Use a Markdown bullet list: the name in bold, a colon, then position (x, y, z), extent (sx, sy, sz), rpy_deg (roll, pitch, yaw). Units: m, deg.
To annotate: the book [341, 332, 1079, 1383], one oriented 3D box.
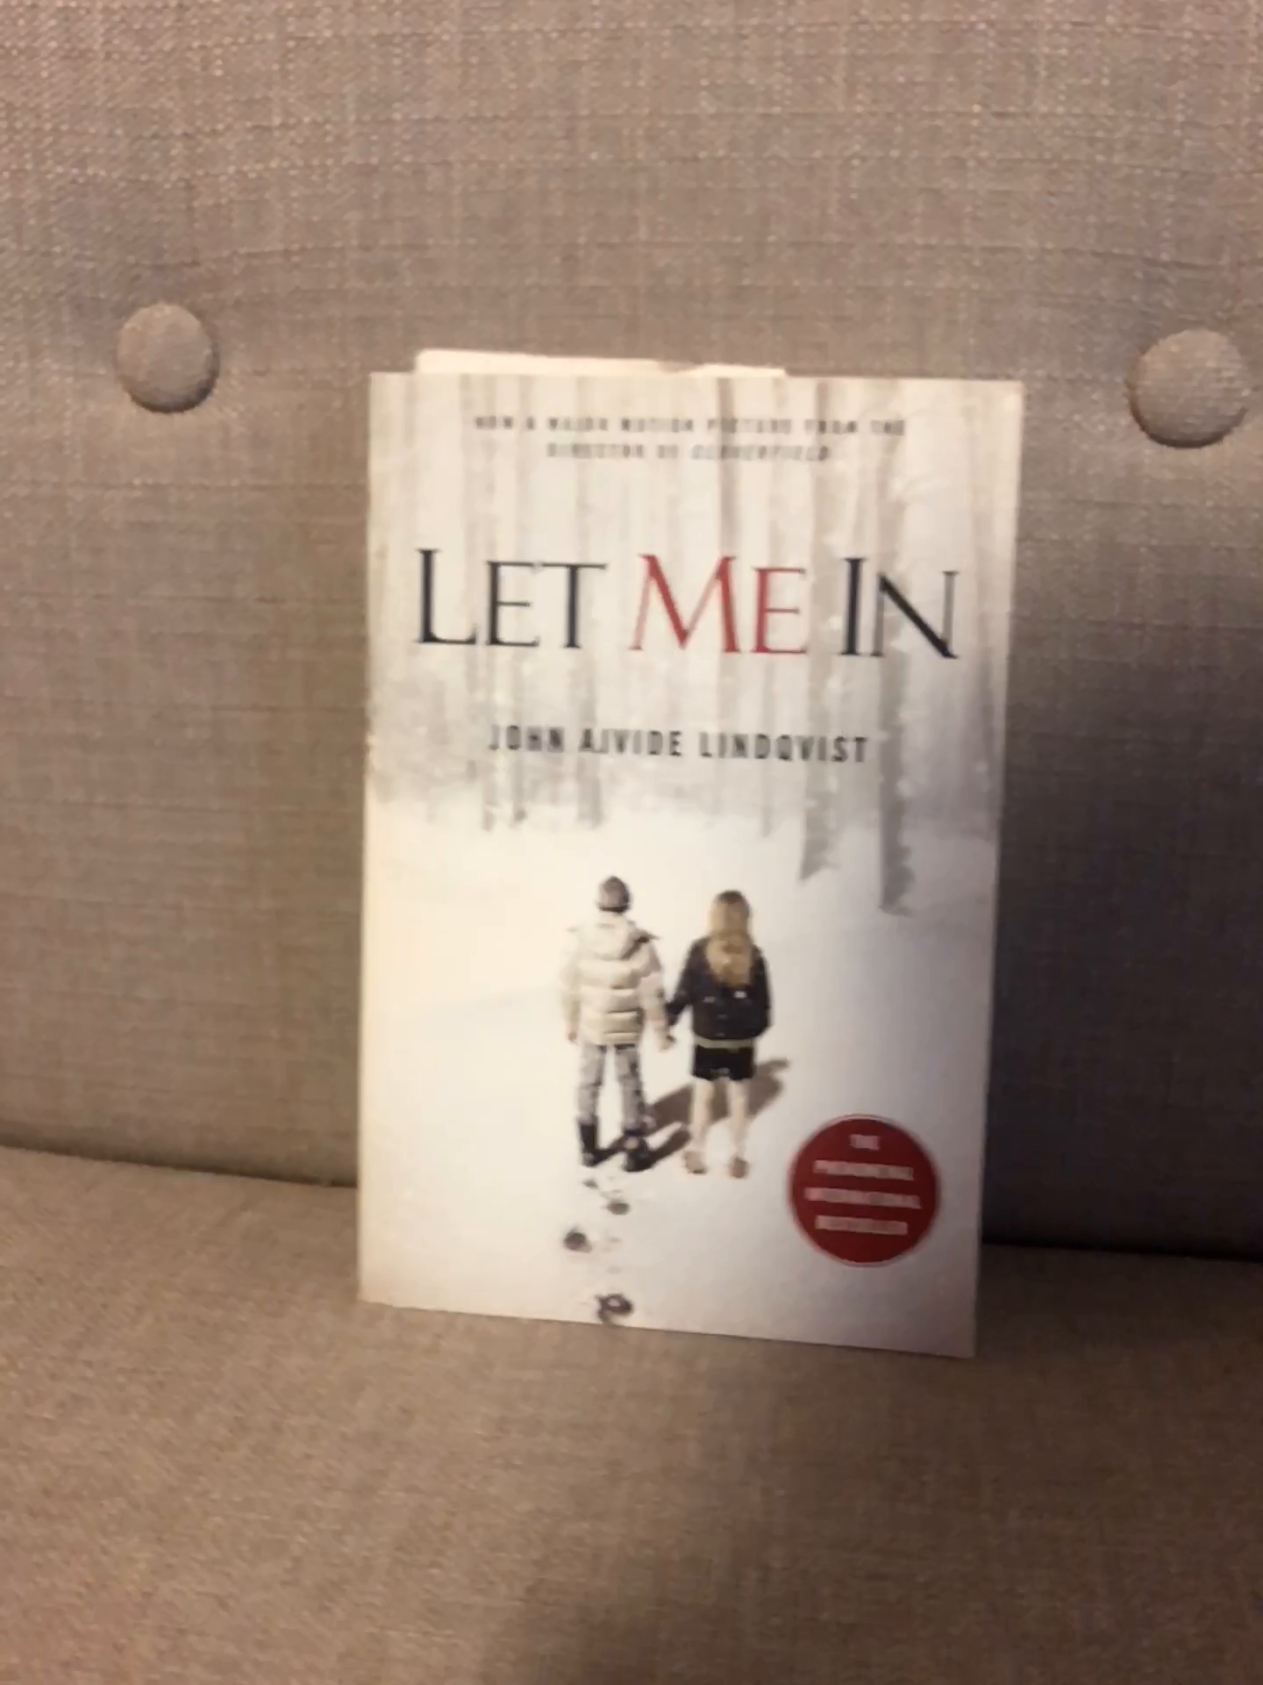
- **book**: position (0.015, 0.001, 0.323), extent (0.147, 0.216, 0.043), rpy_deg (3, 4, 7)
